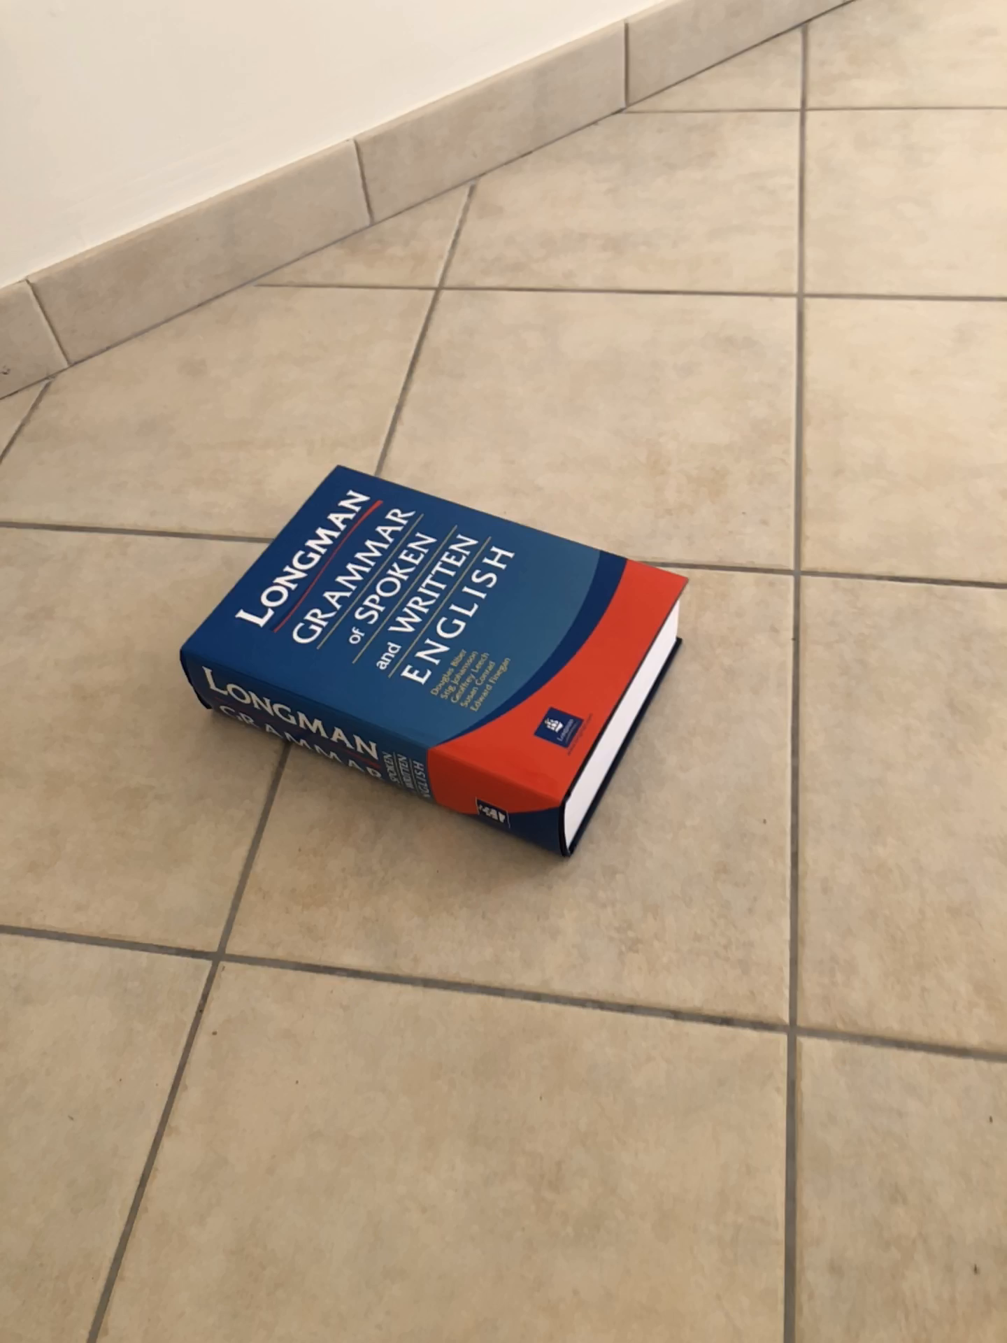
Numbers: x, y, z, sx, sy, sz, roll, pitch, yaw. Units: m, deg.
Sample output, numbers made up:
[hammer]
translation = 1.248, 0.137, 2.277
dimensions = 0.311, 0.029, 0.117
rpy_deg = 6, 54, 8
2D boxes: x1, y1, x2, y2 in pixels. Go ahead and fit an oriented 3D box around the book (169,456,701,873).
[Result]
[book]
translation = -0.036, -0.016, 0.653
dimensions = 0.250, 0.060, 0.178
rpy_deg = 20, 58, 20
